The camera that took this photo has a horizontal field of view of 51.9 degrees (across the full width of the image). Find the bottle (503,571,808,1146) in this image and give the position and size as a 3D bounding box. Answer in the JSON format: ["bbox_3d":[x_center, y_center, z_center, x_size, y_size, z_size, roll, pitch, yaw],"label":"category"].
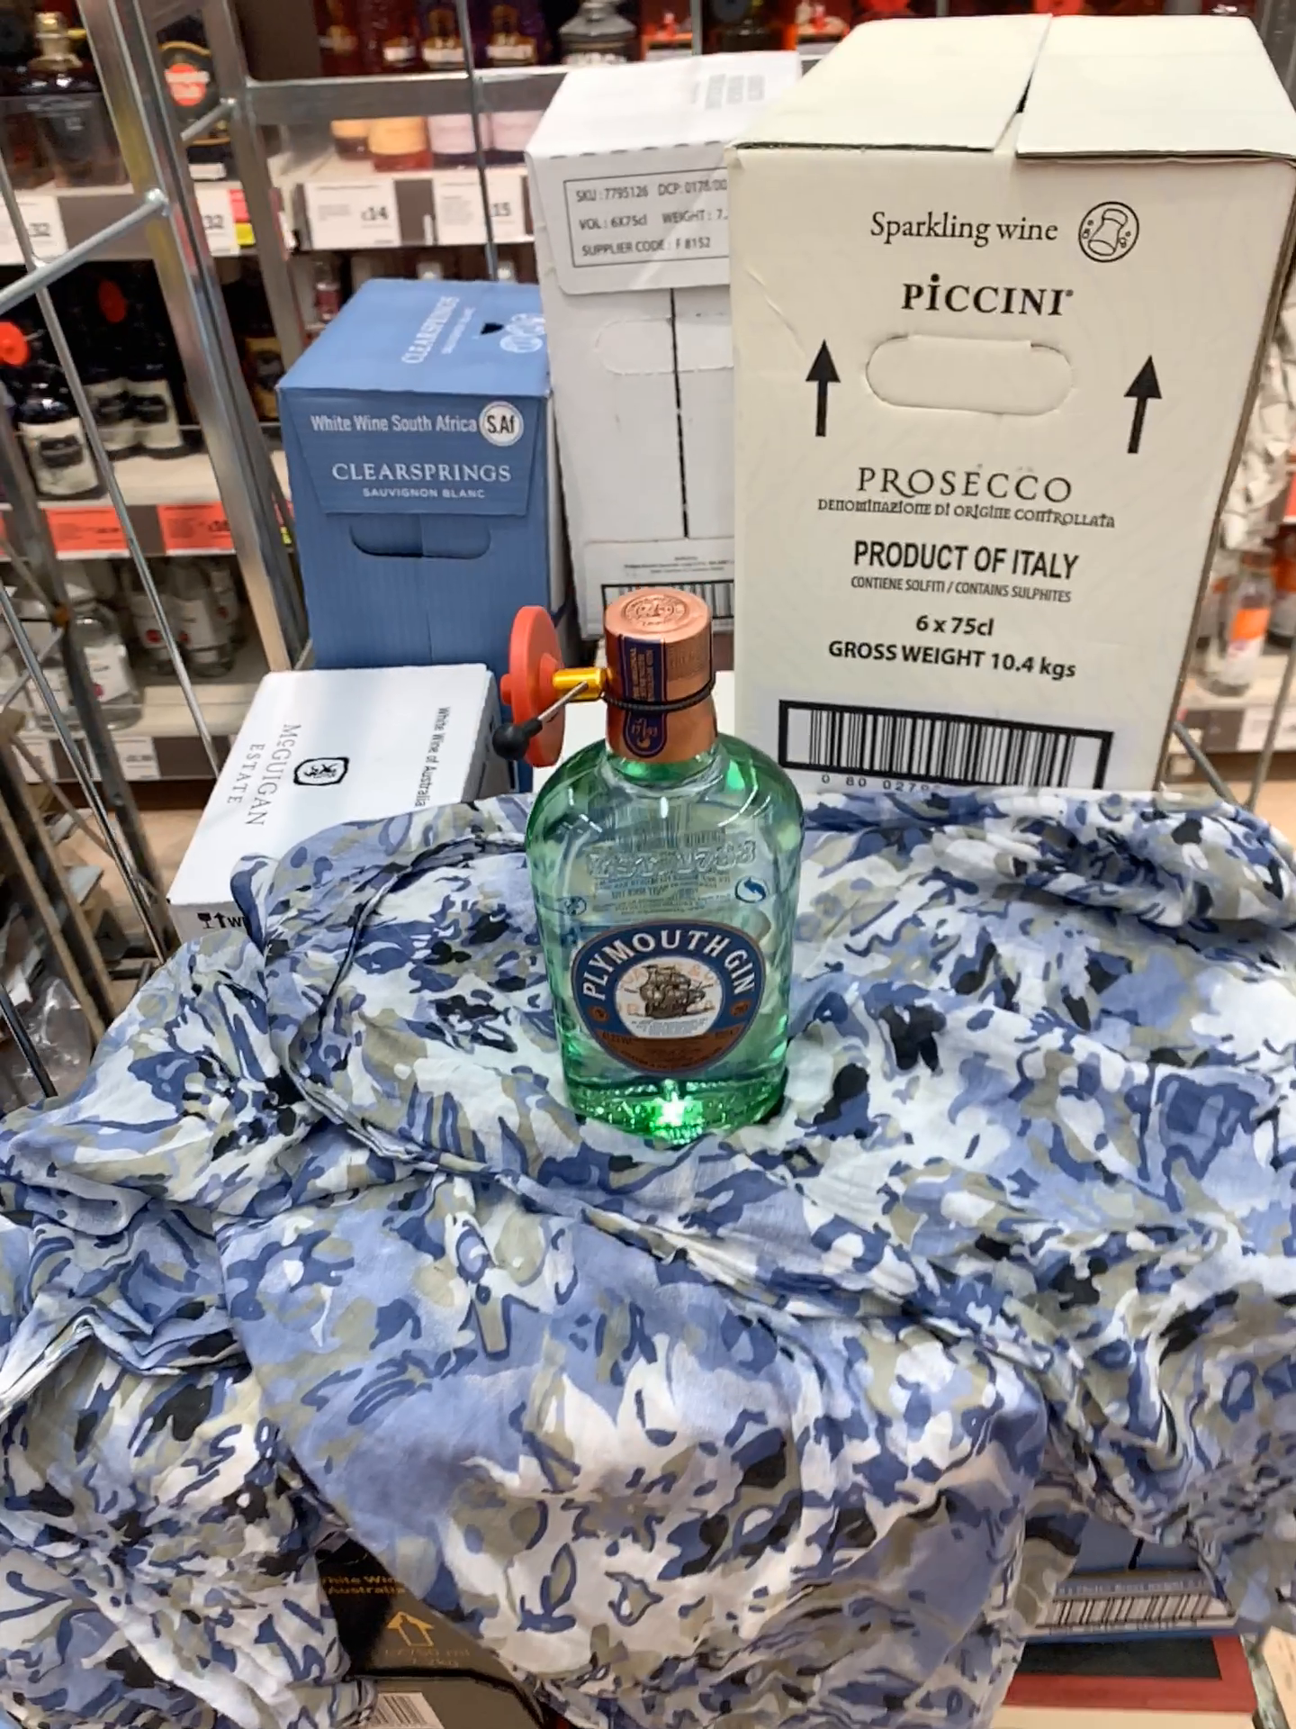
[{"bbox_3d":[0.008,0.008,0.504,0.094,0.228,0.058,-1,38,3],"label":"bottle"}]
